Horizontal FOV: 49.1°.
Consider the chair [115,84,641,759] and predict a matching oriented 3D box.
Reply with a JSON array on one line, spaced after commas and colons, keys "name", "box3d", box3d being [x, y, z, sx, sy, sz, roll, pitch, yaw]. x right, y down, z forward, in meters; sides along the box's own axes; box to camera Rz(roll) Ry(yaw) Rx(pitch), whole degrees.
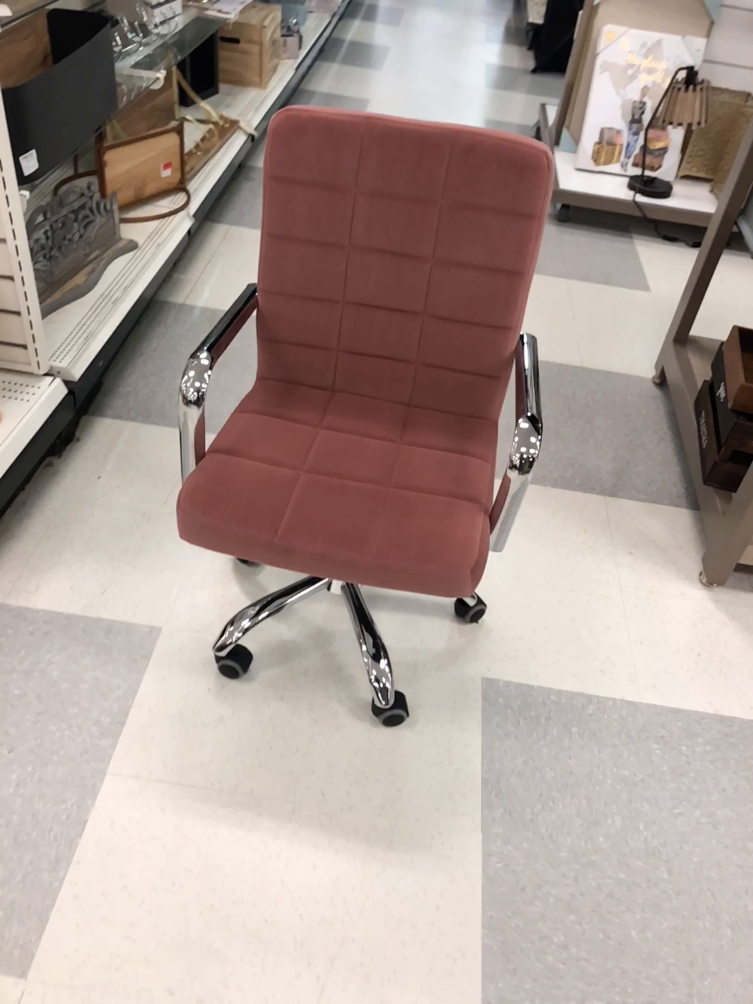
[{"name": "chair", "box3d": [-0.009, -0.116, 1.358, 0.564, 0.841, 0.573, 11, 40, 2]}]
